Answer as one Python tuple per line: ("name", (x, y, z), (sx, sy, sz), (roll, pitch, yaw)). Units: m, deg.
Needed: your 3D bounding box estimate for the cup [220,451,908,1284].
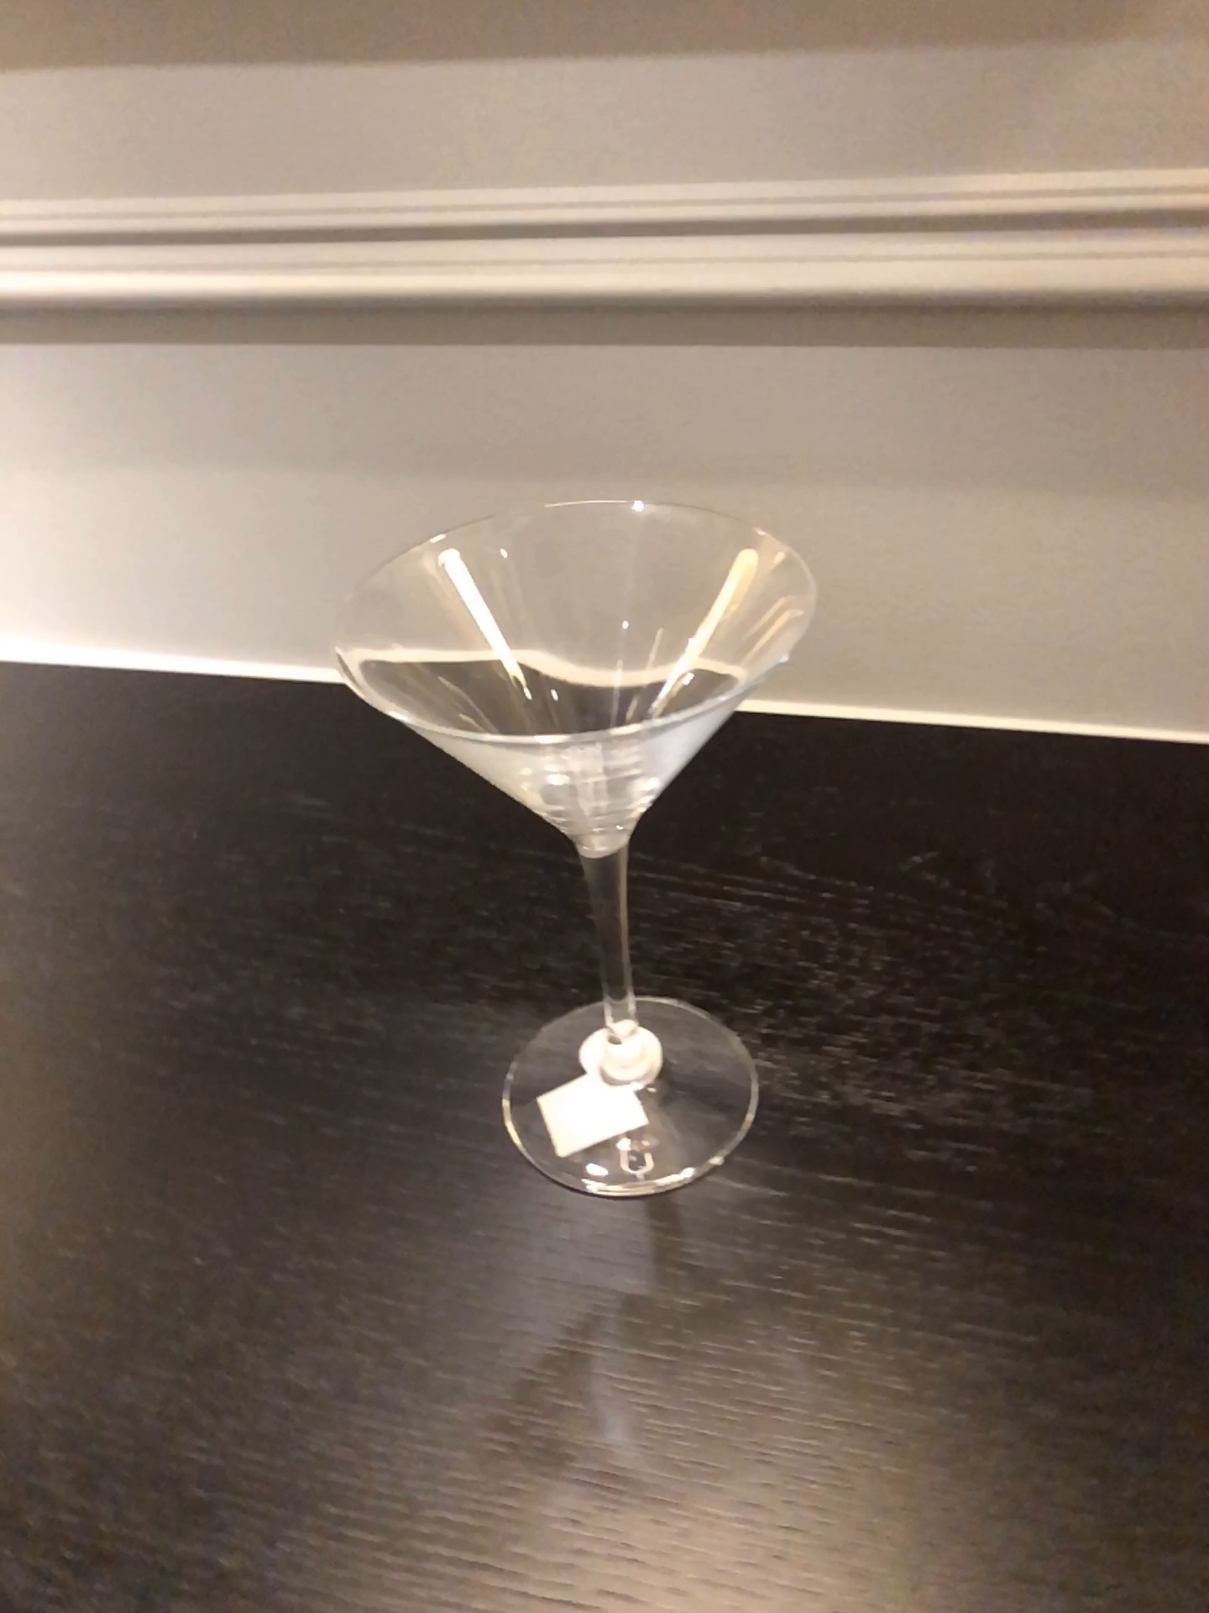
("cup", (-0.008, 0.010, 0.382), (0.120, 0.159, 0.130), (-4, 36, 3))
